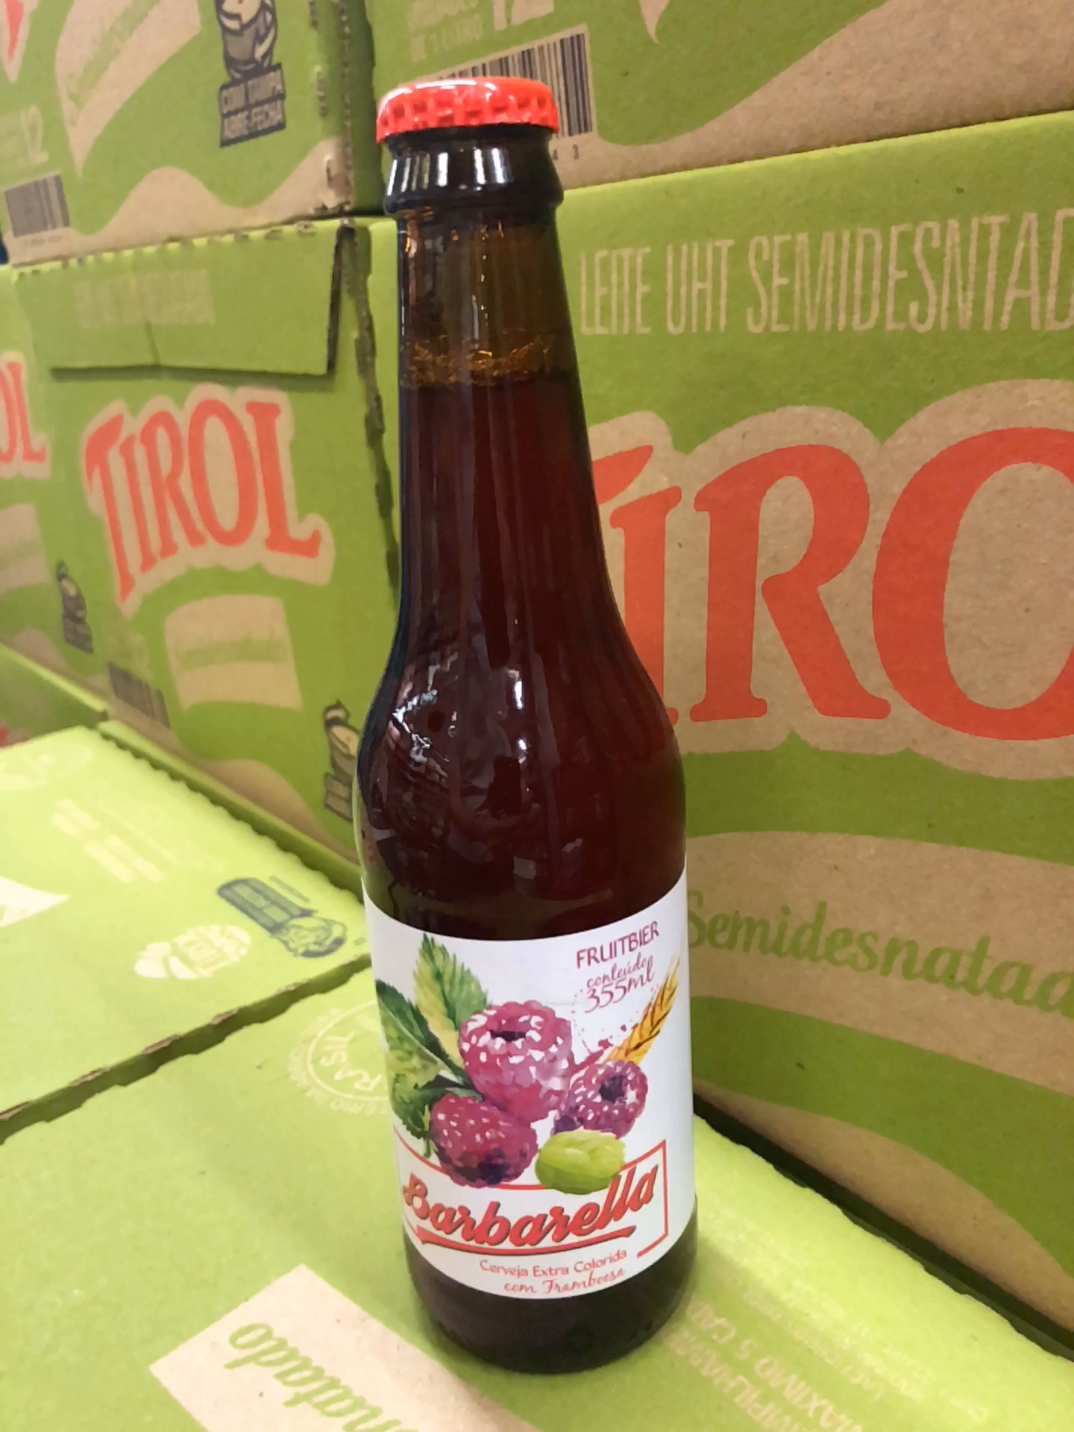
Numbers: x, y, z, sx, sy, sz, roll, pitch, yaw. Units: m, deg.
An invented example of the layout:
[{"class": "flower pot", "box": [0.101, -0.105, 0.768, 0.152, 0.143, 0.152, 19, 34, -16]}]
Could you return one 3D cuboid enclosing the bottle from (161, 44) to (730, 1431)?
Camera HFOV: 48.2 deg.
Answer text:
[{"class": "bottle", "box": [-0.003, 0.016, 0.216, 0.070, 0.229, 0.060, -2, 20, 6]}]
